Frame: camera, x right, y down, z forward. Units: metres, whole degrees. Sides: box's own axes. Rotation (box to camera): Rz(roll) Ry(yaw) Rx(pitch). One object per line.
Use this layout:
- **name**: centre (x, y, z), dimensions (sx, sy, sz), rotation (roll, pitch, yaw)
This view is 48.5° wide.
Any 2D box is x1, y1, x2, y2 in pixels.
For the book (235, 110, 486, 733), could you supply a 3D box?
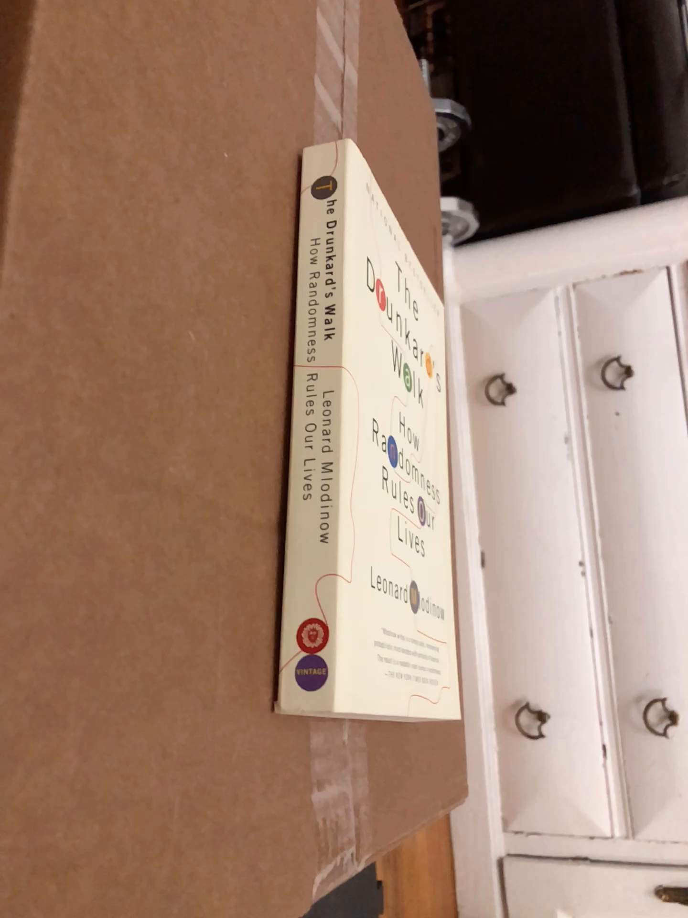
- **book**: centre (0.016, -0.002, 0.308), dimensions (0.141, 0.040, 0.210), rotation (37, 49, -60)
